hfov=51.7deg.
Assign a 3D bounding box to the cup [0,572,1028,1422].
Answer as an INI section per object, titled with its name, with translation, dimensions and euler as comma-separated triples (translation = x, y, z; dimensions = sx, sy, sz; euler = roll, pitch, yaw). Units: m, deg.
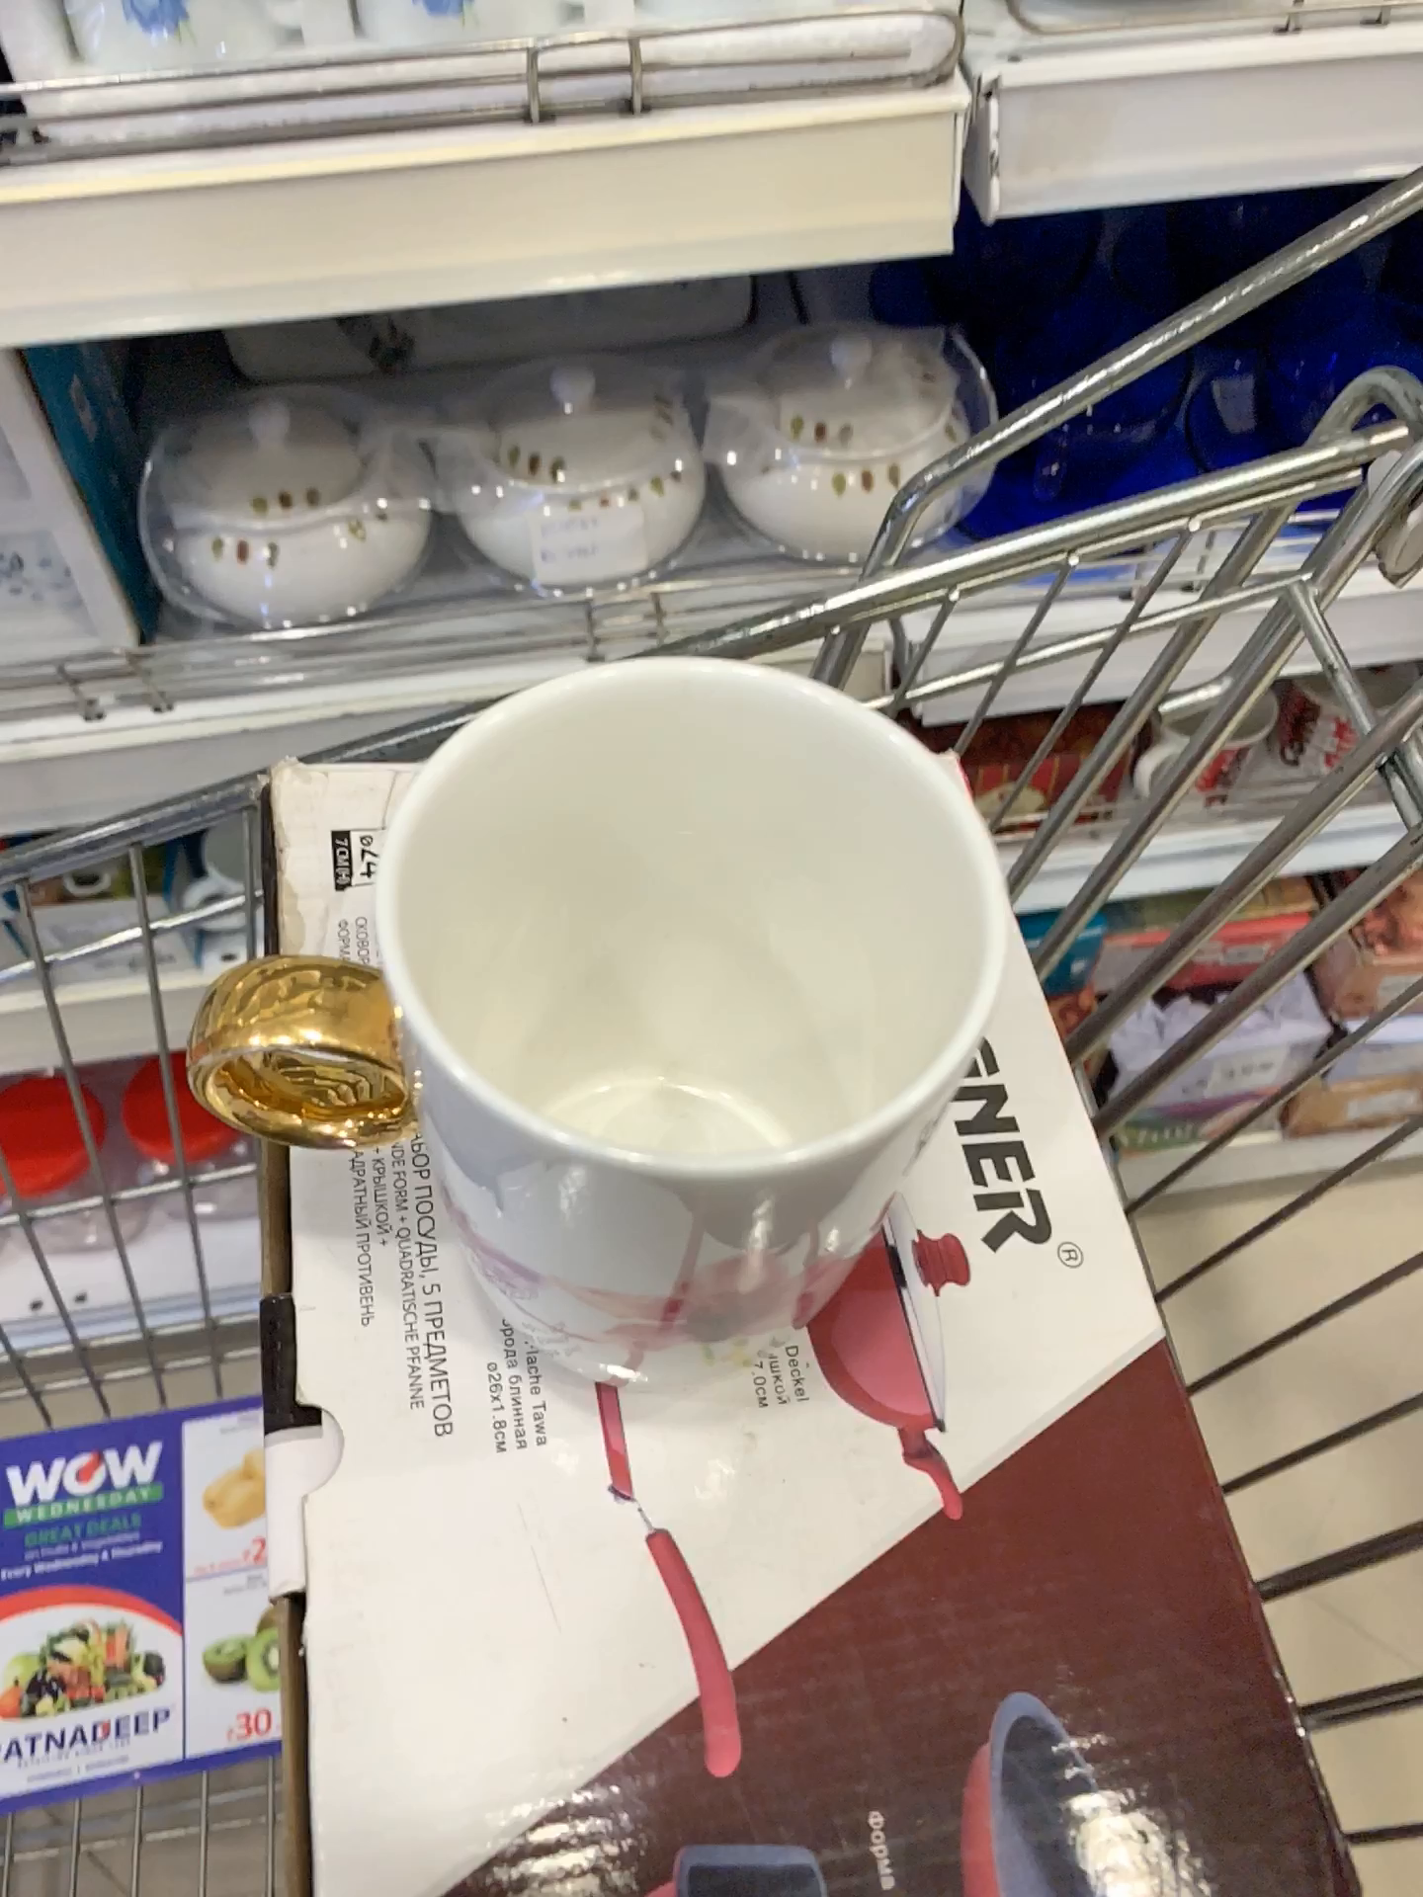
[cup]
translation = -0.022, 0.012, 0.200
dimensions = 0.110, 0.090, 0.070
euler = 5, 57, 1
